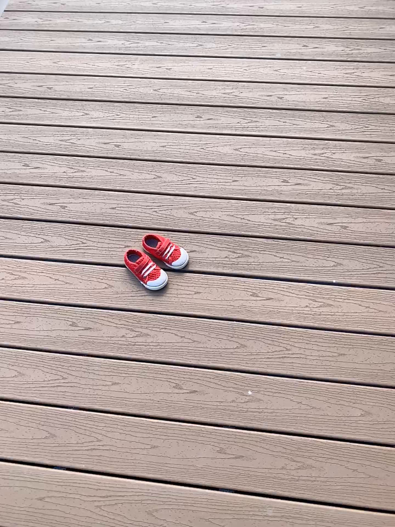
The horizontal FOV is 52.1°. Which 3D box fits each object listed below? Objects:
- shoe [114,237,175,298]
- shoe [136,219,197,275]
[{"bbox_3d":[-0.170,0.011,1.300,0.090,0.060,0.180,-42,68,-17],"label":"shoe"},{"bbox_3d":[-0.102,-0.056,1.336,0.180,0.060,0.090,33,69,19],"label":"shoe"}]
